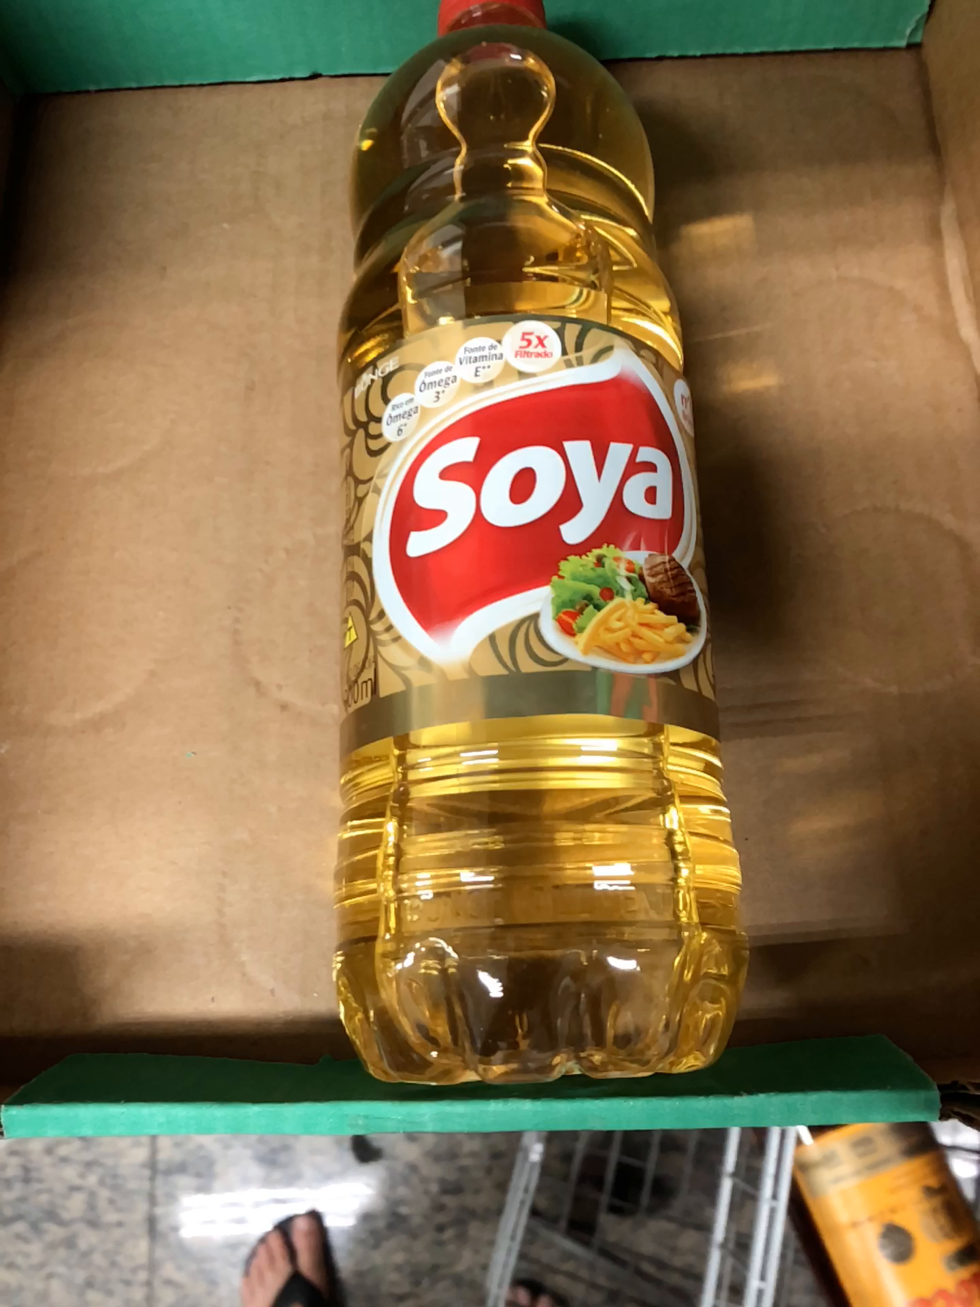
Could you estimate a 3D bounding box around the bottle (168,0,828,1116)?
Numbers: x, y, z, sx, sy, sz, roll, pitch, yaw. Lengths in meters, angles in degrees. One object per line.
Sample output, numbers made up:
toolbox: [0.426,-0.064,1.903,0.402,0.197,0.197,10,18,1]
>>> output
bottle: [-0.005,-0.038,0.196,0.080,0.070,0.210,-4,74,0]
